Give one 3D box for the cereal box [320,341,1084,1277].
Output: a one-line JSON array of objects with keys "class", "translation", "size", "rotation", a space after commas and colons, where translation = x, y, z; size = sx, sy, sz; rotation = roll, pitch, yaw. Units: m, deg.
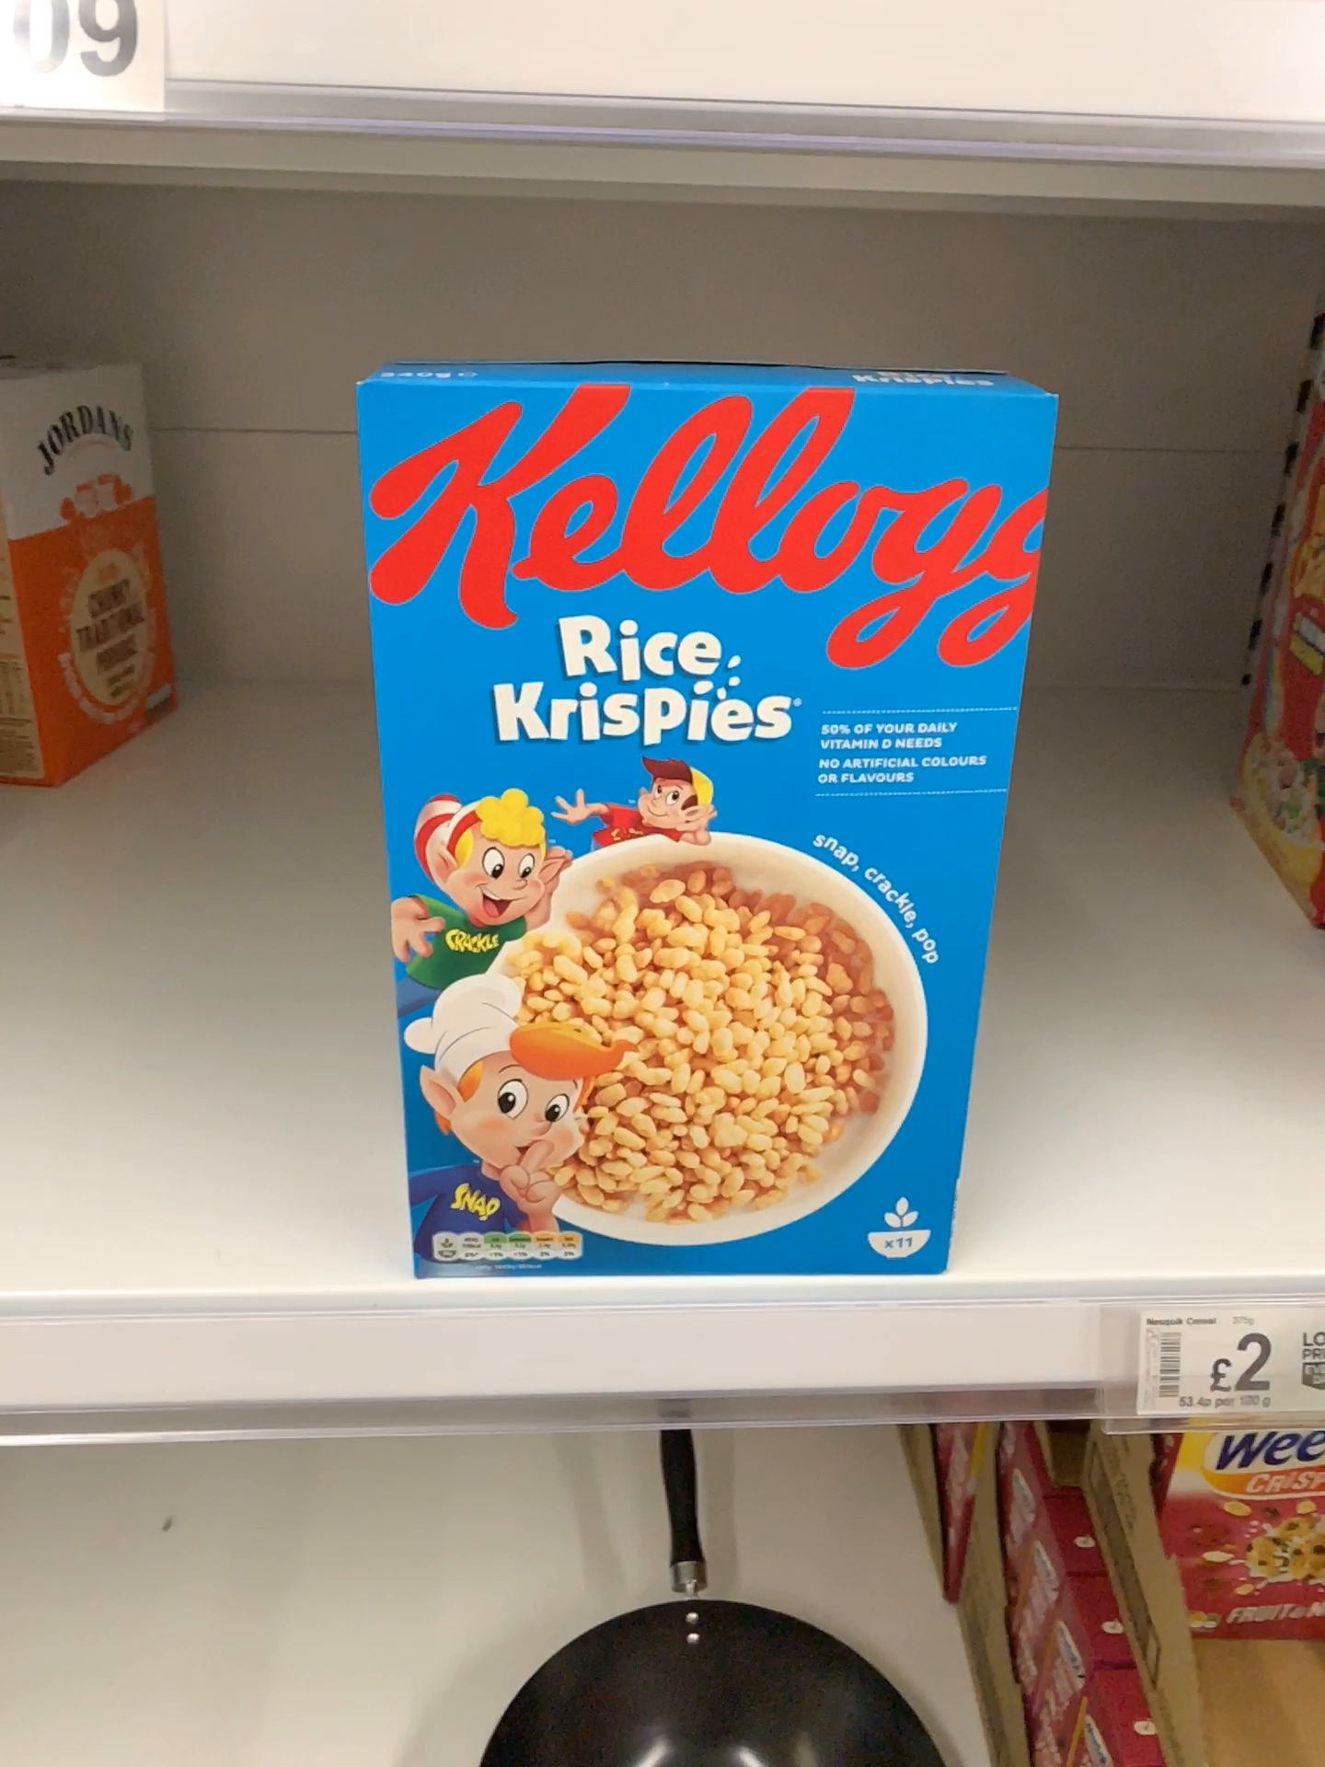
[{"class": "cereal box", "translation": [0.006, -0.013, 0.448], "size": [0.200, 0.298, 0.071], "rotation": [1, 24, -3]}]
